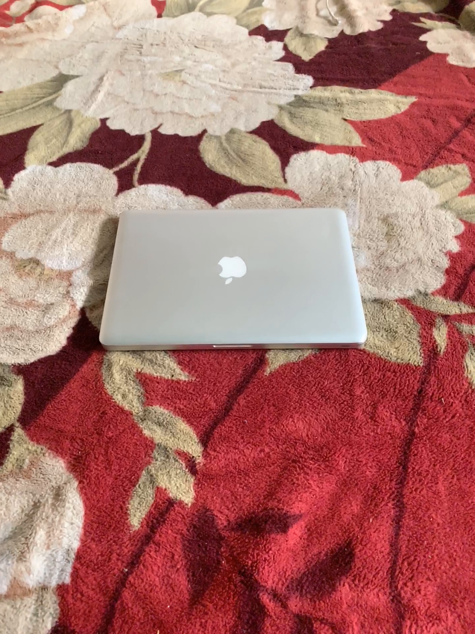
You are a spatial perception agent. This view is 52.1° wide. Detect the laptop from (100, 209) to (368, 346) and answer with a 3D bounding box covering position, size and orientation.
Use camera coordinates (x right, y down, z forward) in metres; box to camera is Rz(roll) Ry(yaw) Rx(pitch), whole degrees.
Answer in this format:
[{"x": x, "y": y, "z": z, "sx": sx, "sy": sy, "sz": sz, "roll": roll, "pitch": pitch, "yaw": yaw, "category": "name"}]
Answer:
[{"x": -0.005, "y": -0.058, "z": 0.618, "sx": 0.310, "sy": 0.001, "sz": 0.210, "roll": -1, "pitch": 58, "yaw": 0, "category": "laptop"}]
